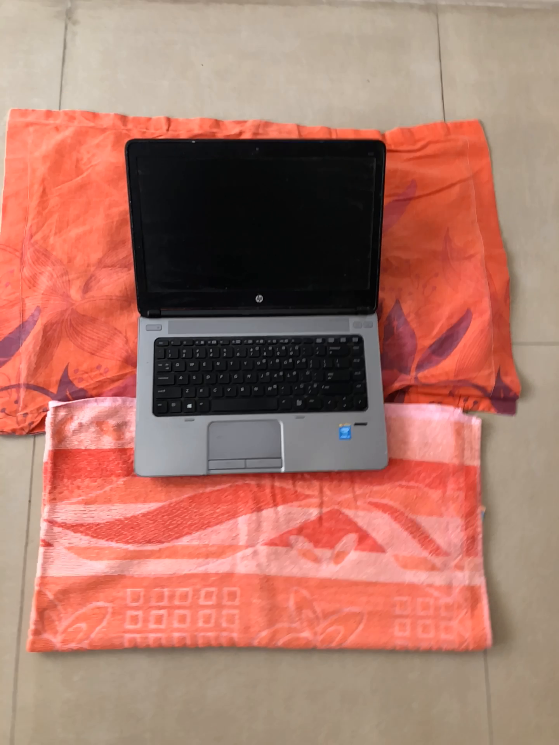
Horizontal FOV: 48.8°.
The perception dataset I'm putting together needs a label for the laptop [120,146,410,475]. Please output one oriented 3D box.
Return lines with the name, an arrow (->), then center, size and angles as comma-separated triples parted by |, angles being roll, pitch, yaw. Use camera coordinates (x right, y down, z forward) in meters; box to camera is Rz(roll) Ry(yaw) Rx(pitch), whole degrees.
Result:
laptop -> -0.024, -0.083, 0.800 | 0.328, 0.111, 0.410 | -1, 76, -4
